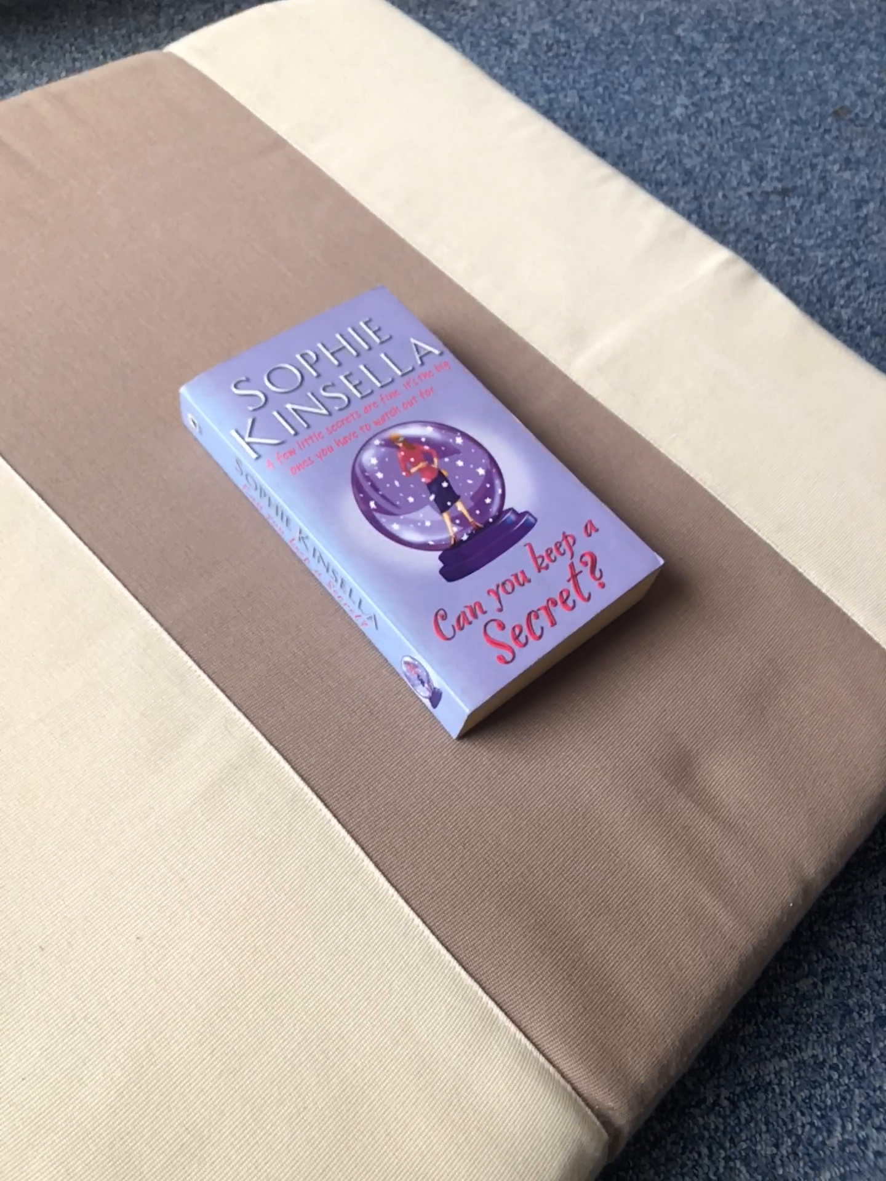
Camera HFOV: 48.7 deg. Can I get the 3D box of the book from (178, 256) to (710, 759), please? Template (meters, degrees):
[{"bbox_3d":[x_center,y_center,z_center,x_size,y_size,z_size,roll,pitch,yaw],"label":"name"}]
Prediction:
[{"bbox_3d":[-0.003,-0.041,0.382,0.110,0.040,0.180,-34,71,-27],"label":"book"}]
